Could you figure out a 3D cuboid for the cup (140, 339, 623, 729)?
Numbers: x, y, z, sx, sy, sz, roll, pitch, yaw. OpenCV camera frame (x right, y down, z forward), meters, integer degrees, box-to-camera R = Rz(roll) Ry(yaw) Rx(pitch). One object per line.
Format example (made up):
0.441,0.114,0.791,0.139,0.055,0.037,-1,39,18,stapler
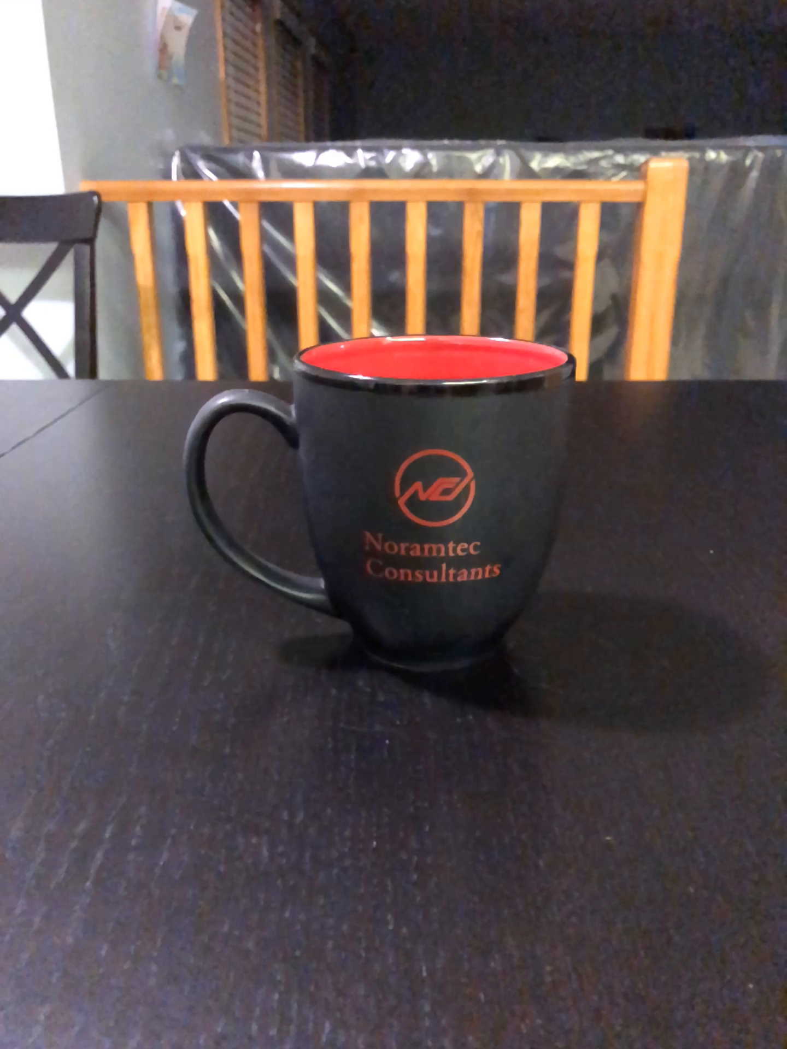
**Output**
-0.006,-0.004,0.319,0.140,0.110,0.100,-1,19,-4,cup
